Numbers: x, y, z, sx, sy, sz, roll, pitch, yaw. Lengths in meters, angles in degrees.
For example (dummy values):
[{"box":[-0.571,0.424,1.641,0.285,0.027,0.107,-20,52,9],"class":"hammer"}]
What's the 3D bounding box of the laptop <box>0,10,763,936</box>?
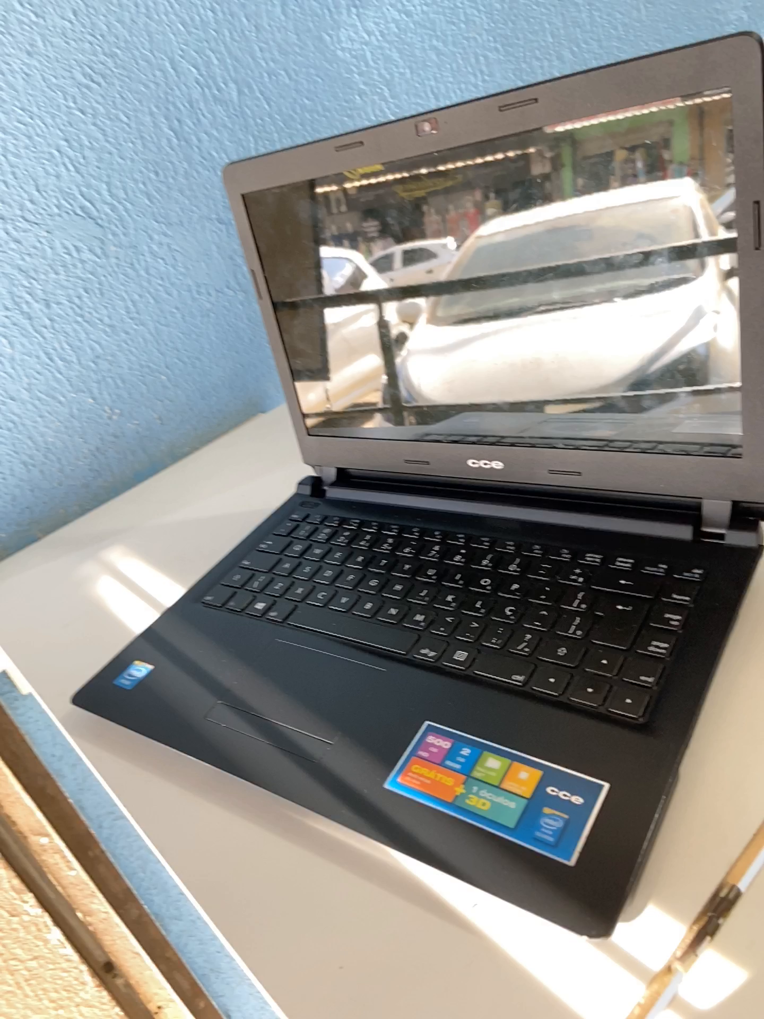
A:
[{"box":[-0.013,-0.043,0.387,0.324,0.216,0.267,6,38,39],"class":"laptop"}]
